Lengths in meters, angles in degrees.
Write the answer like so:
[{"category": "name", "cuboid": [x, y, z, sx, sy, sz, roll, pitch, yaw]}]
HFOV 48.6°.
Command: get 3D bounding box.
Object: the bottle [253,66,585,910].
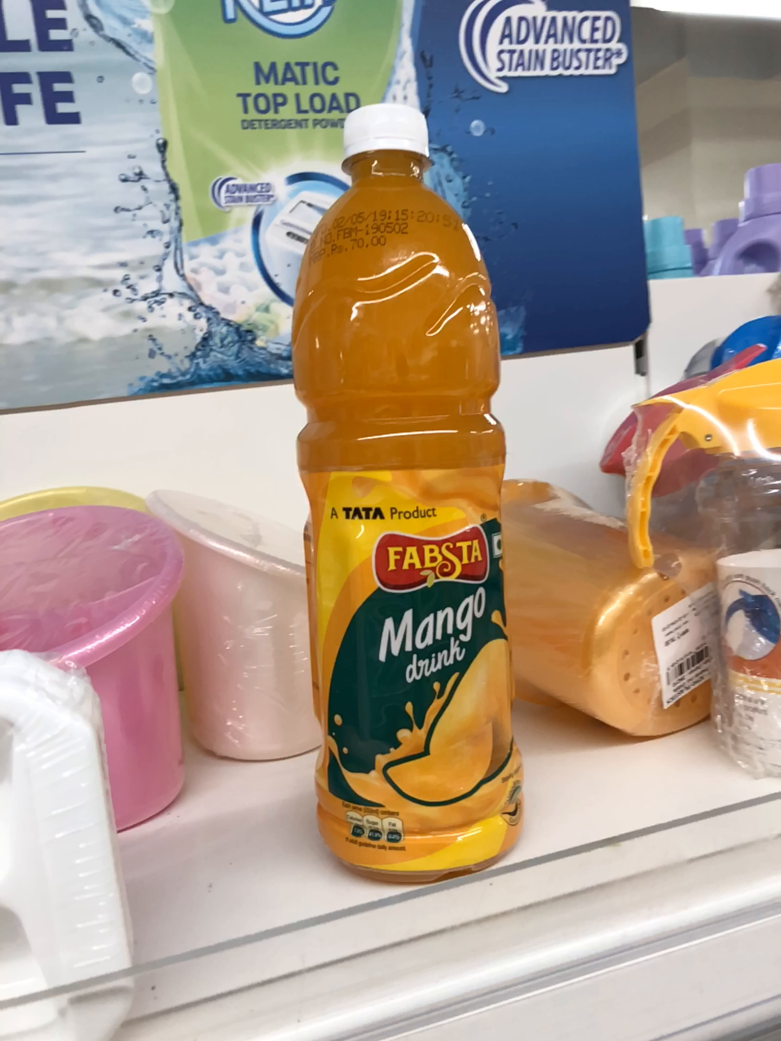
[{"category": "bottle", "cuboid": [0.008, -0.011, 0.319, 0.090, 0.260, 0.080, -4, 5, -20]}]
